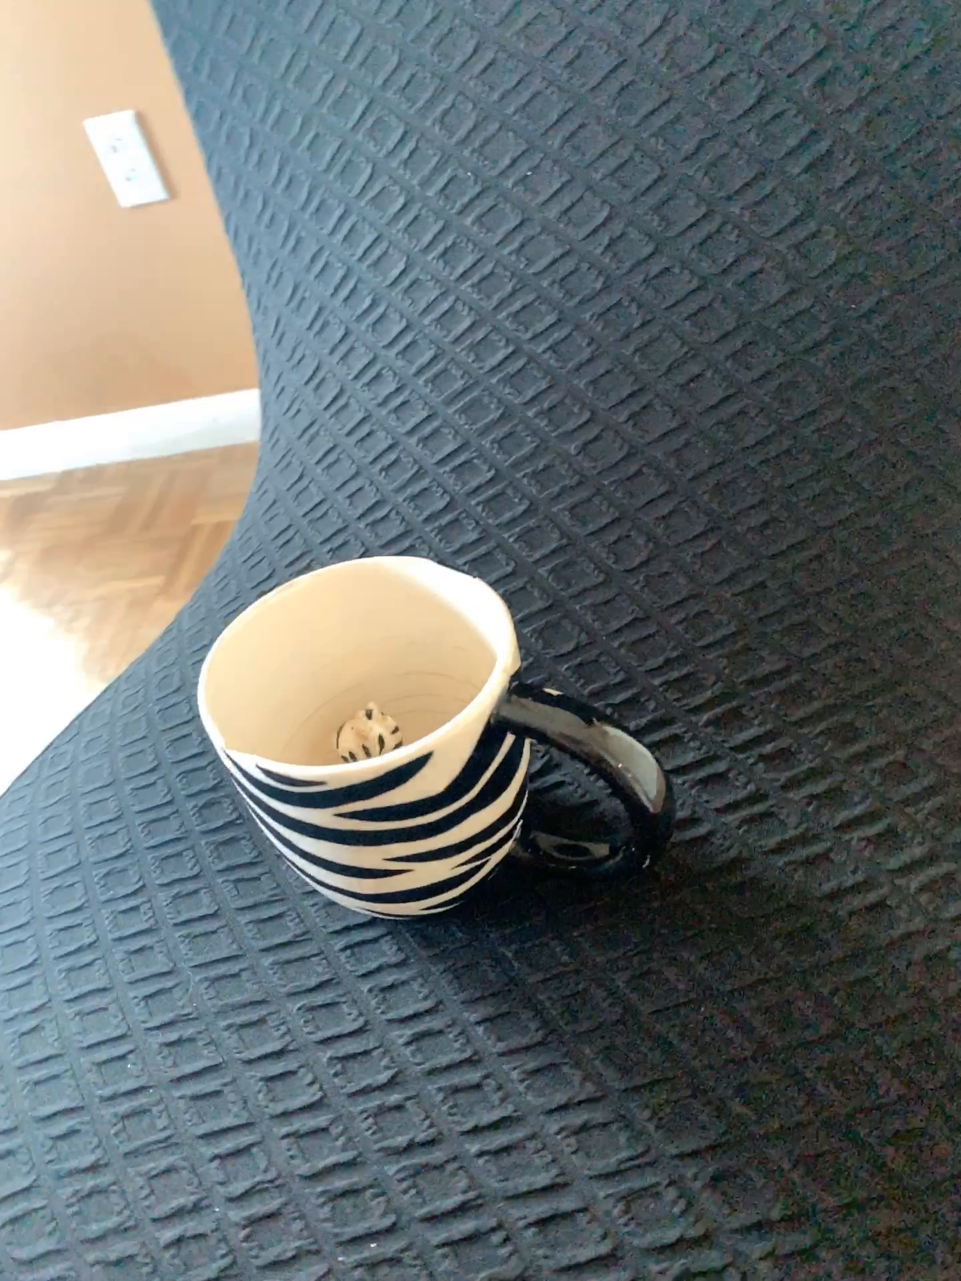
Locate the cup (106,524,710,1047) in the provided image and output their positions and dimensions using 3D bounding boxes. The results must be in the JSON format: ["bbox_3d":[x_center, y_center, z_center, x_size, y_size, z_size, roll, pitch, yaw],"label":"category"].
[{"bbox_3d":[-0.017,0.036,0.295,0.141,0.089,0.080,14,51,31],"label":"cup"}]
